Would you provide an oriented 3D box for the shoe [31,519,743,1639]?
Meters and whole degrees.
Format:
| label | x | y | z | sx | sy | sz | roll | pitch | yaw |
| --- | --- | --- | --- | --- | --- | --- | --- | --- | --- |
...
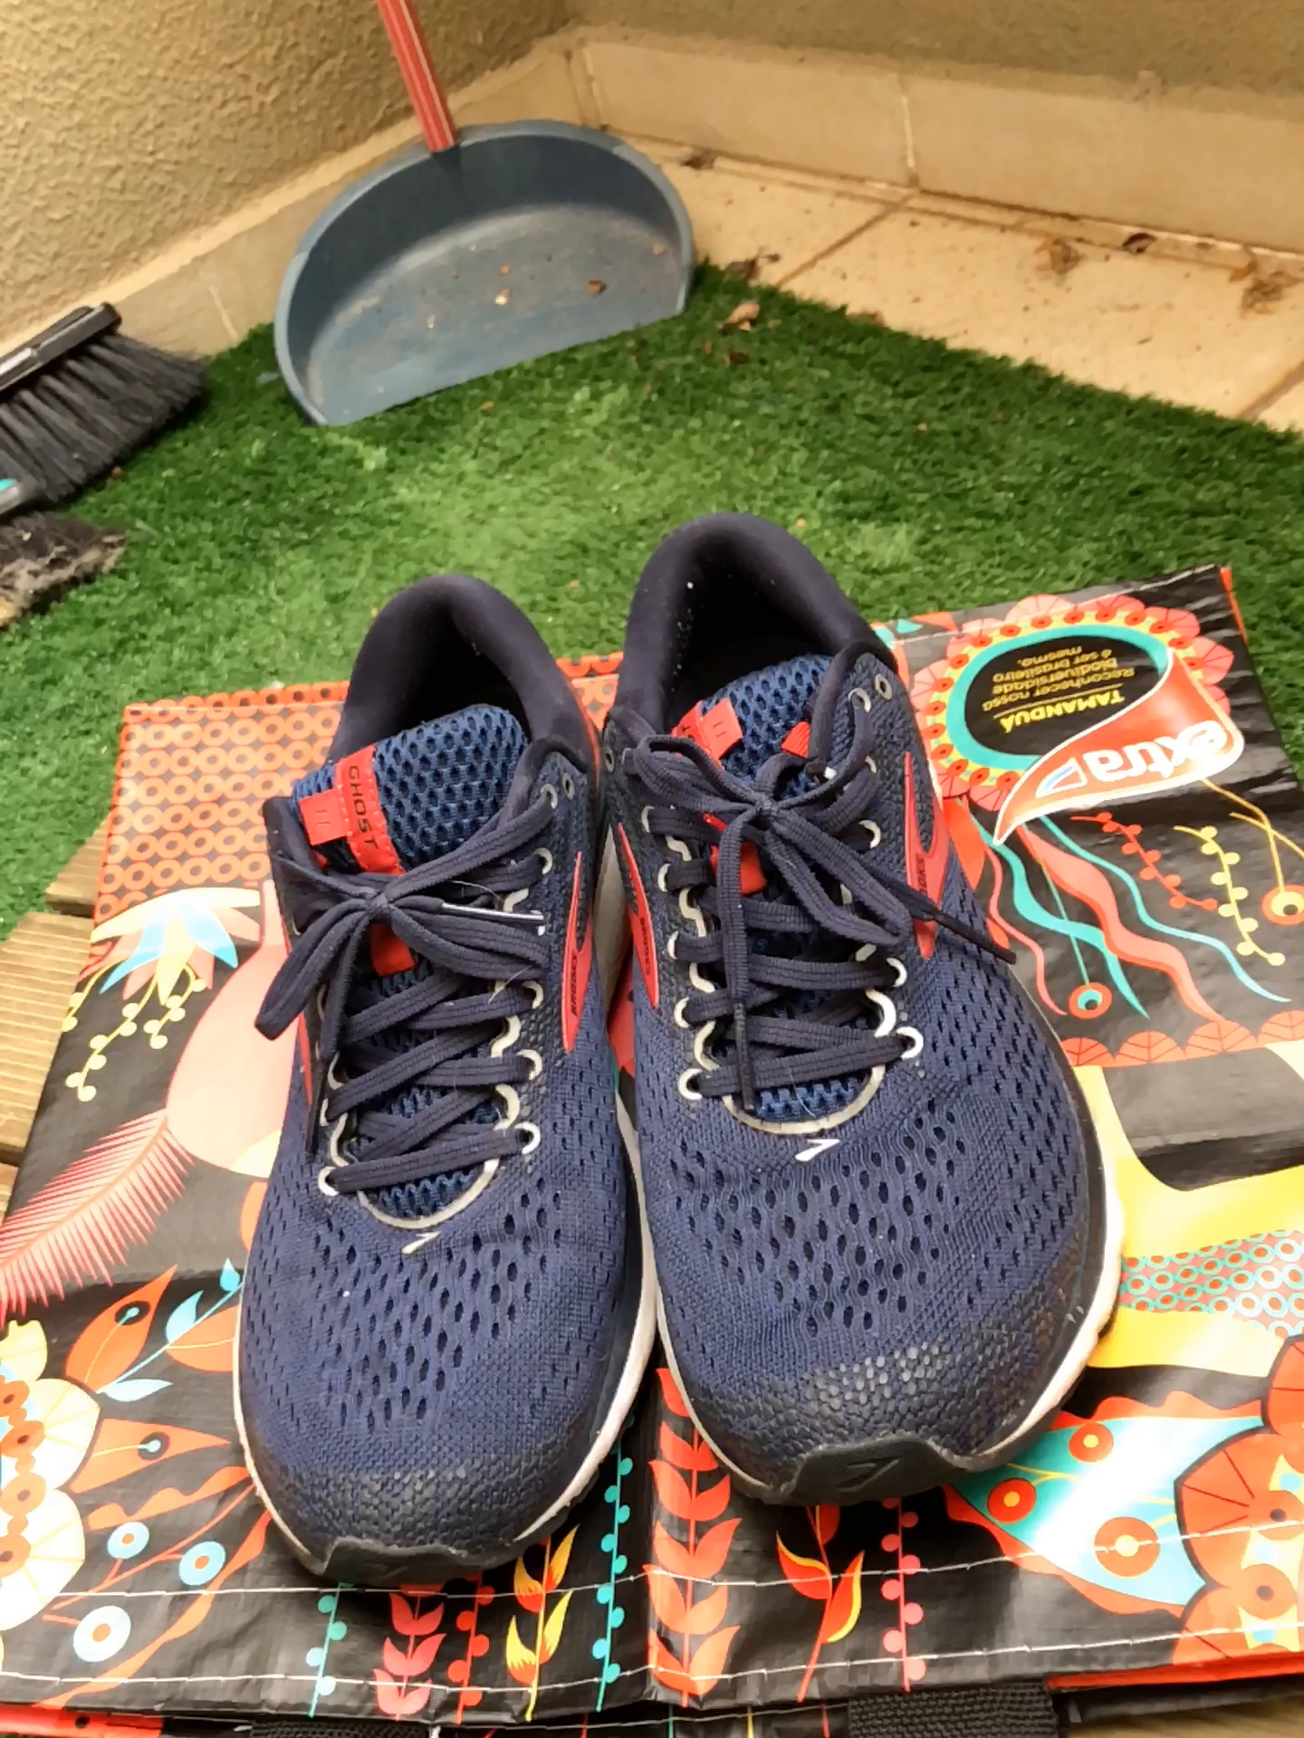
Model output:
| label | x | y | z | sx | sy | sz | roll | pitch | yaw |
| --- | --- | --- | --- | --- | --- | --- | --- | --- | --- |
| shoe | -0.051 | 0.035 | 0.378 | 0.107 | 0.099 | 0.266 | -13 | 44 | 10 |

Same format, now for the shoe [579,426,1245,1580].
| label | x | y | z | sx | sy | sz | roll | pitch | yaw |
| --- | --- | --- | --- | --- | --- | --- | --- | --- | --- |
| shoe | 0.049 | 0.012 | 0.359 | 0.100 | 0.099 | 0.267 | -14 | 44 | 9 |
